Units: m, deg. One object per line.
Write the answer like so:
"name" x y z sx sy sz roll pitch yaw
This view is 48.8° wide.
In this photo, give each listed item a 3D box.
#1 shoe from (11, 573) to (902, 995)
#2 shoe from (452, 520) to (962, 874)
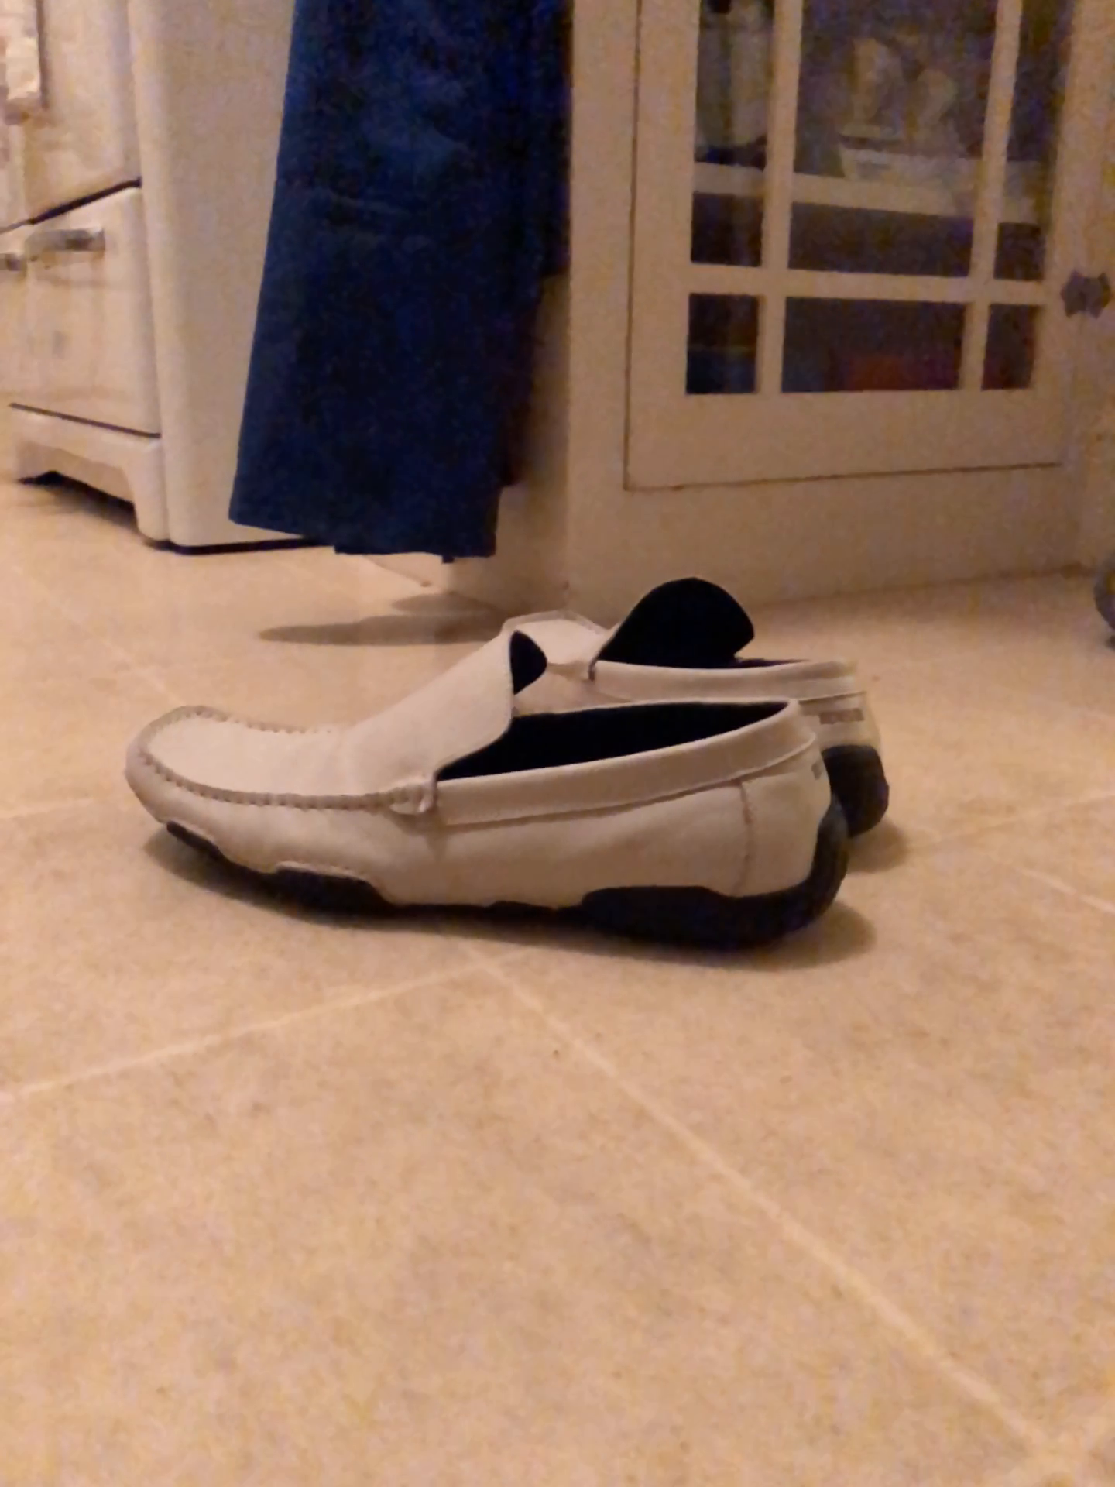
"shoe" -0.033 0.002 0.464 0.306 0.097 0.111 6 18 15
"shoe" 0.050 -0.043 0.610 0.111 0.097 0.290 -7 19 -24
